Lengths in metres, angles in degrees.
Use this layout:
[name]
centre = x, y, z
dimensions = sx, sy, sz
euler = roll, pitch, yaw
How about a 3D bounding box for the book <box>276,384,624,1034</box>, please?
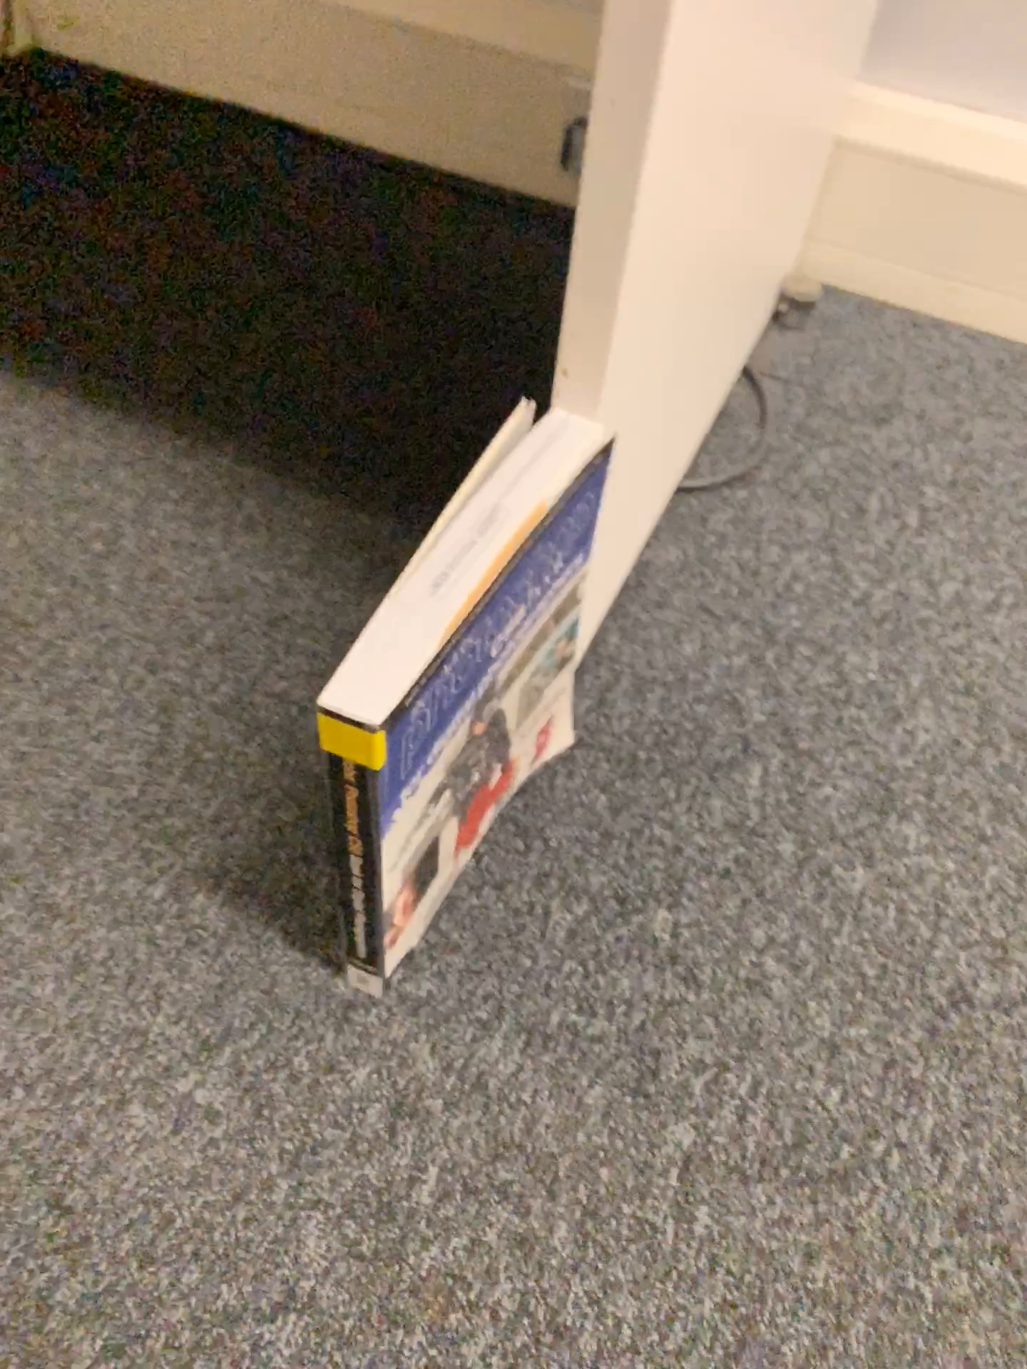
[book]
centre = -0.028, 0.025, 0.541
dimensions = 0.051, 0.275, 0.212
euler = 23, 53, 12
